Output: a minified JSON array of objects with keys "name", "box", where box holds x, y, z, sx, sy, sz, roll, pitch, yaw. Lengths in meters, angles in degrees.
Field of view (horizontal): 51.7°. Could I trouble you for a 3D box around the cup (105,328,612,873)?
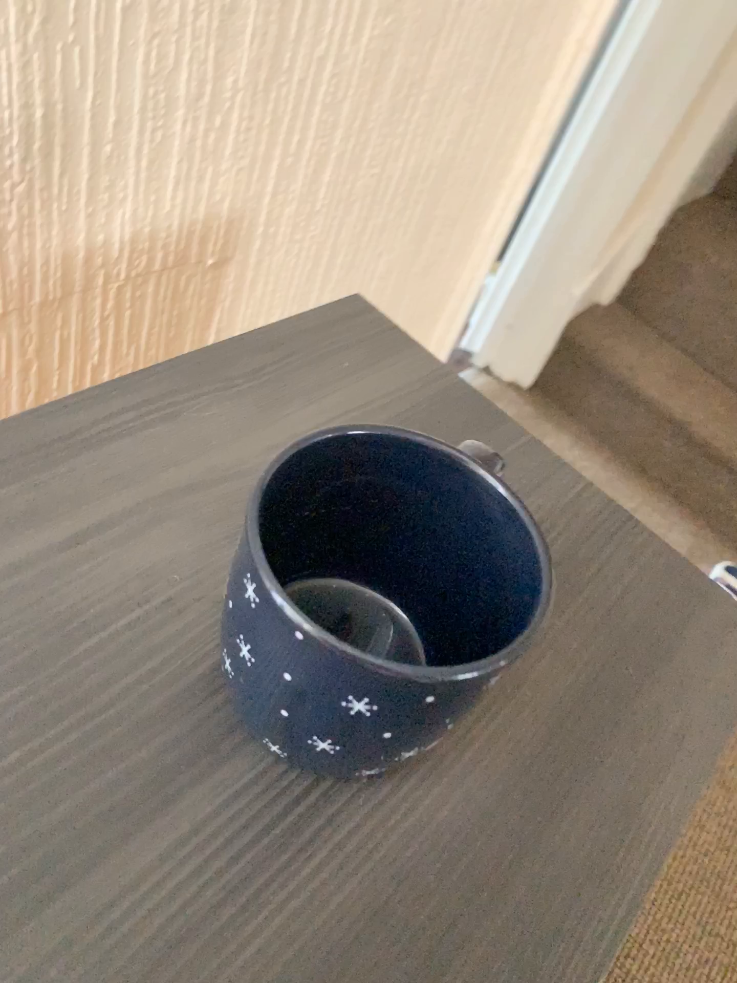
[{"name":"cup","box":[0.002,0.025,0.248,0.100,0.069,0.131,33,44,8]}]
